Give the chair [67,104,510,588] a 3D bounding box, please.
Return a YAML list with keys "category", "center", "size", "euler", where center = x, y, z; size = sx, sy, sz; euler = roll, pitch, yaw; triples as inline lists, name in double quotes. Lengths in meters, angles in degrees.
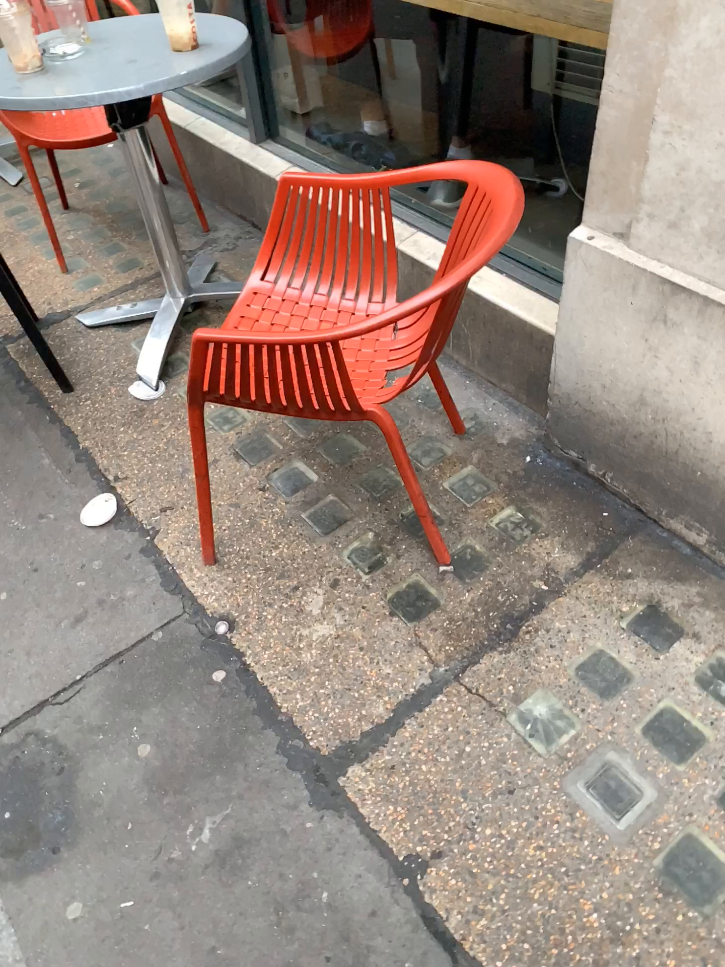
- category: "chair"
  center: [-0.050, -0.266, 1.451]
  size: [0.610, 0.693, 0.585]
  euler: [4, 47, 10]
